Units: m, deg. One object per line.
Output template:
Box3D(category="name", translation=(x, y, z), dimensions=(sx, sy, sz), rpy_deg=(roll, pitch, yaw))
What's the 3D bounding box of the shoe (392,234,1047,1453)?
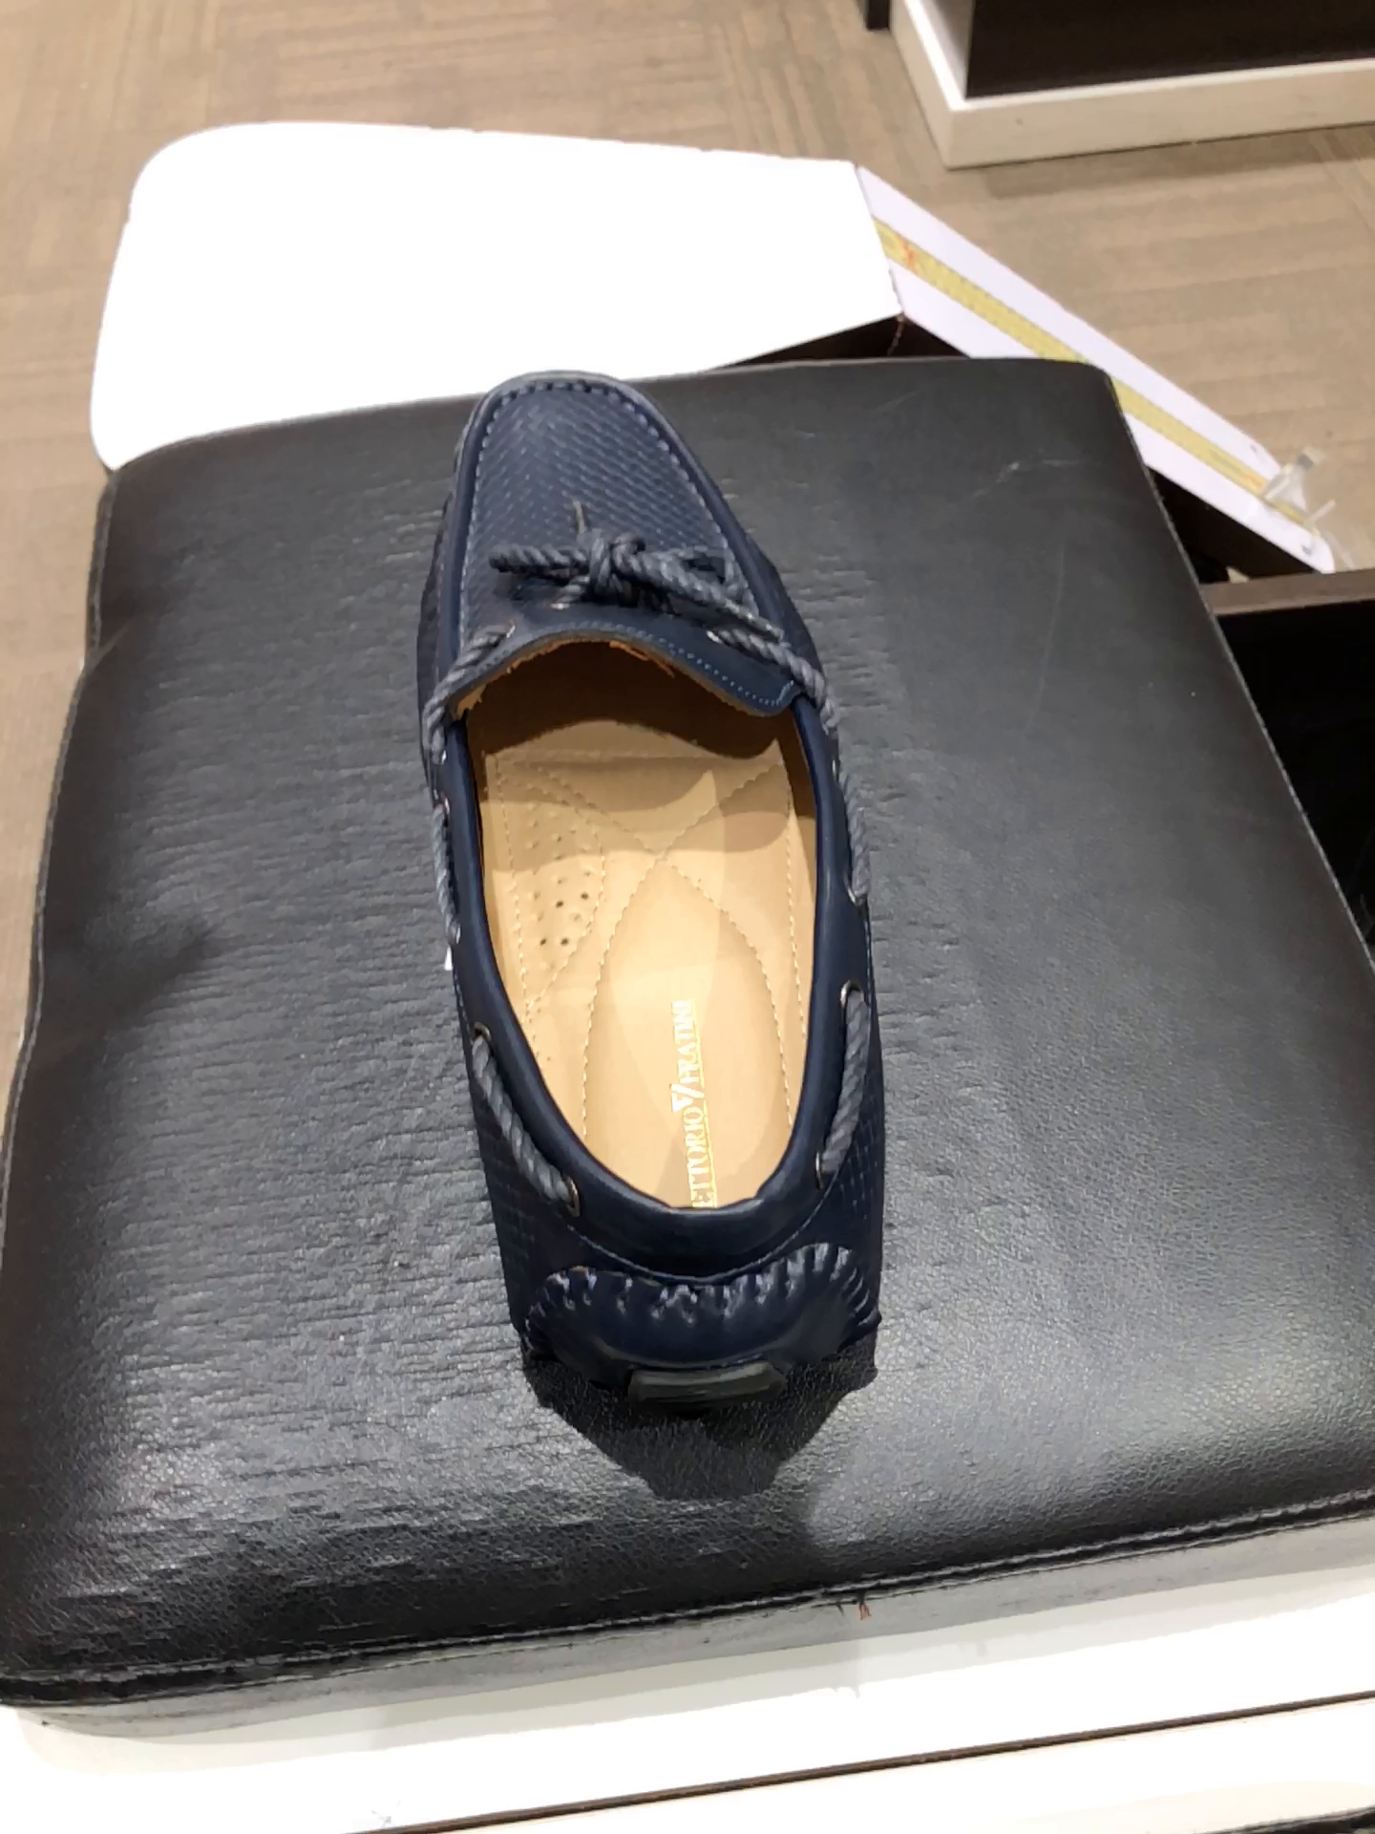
Box3D(category="shoe", translation=(-0.008, -0.035, 0.341), dimensions=(0.100, 0.080, 0.271), rpy_deg=(-7, 55, -2))
